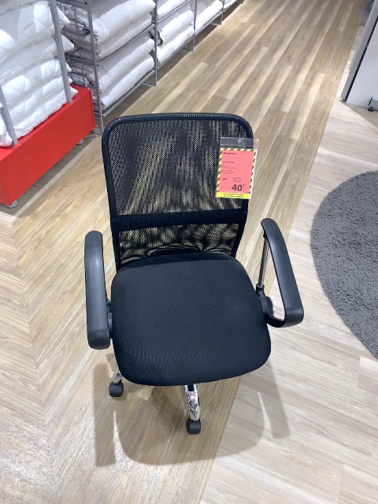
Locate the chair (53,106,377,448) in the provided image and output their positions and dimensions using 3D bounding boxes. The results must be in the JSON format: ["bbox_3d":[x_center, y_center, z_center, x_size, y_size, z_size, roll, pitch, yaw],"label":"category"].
[{"bbox_3d":[0.022,0.113,1.182,0.640,0.866,0.603,-3,49,-9],"label":"chair"}]
